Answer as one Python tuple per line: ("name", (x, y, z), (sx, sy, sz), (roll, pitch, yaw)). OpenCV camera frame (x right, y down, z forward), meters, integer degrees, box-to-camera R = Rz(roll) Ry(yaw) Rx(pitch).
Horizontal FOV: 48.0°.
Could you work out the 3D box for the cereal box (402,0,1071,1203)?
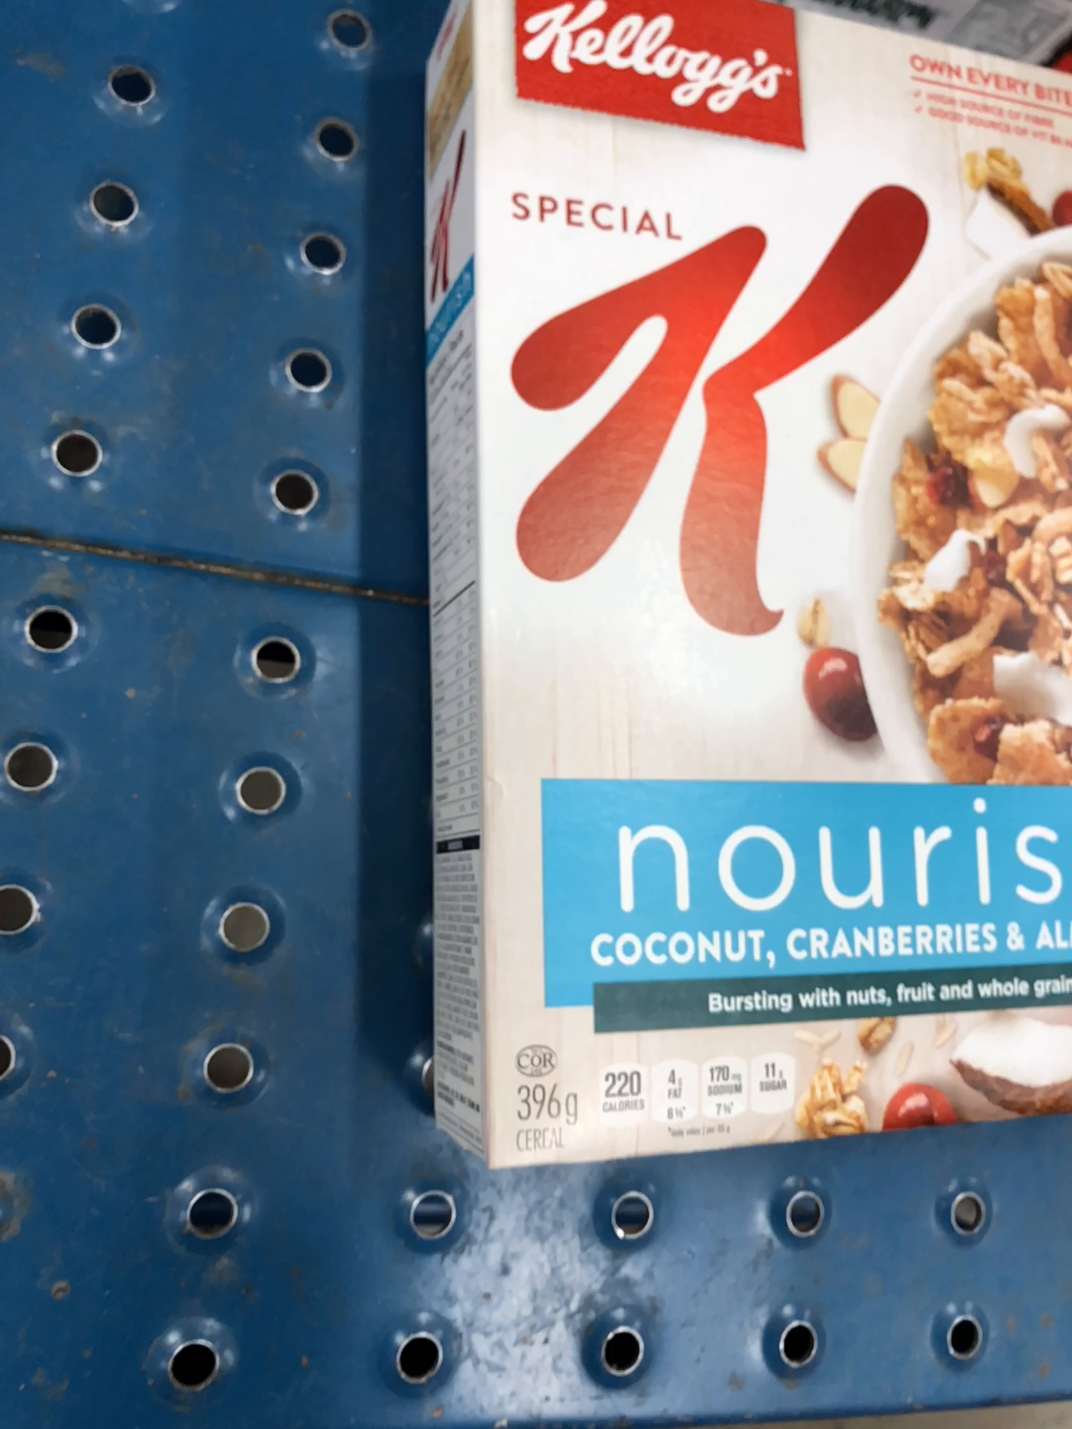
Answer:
("cereal box", (0.076, -0.046, 0.305), (0.210, 0.050, 0.290), (1, 83, -18))
